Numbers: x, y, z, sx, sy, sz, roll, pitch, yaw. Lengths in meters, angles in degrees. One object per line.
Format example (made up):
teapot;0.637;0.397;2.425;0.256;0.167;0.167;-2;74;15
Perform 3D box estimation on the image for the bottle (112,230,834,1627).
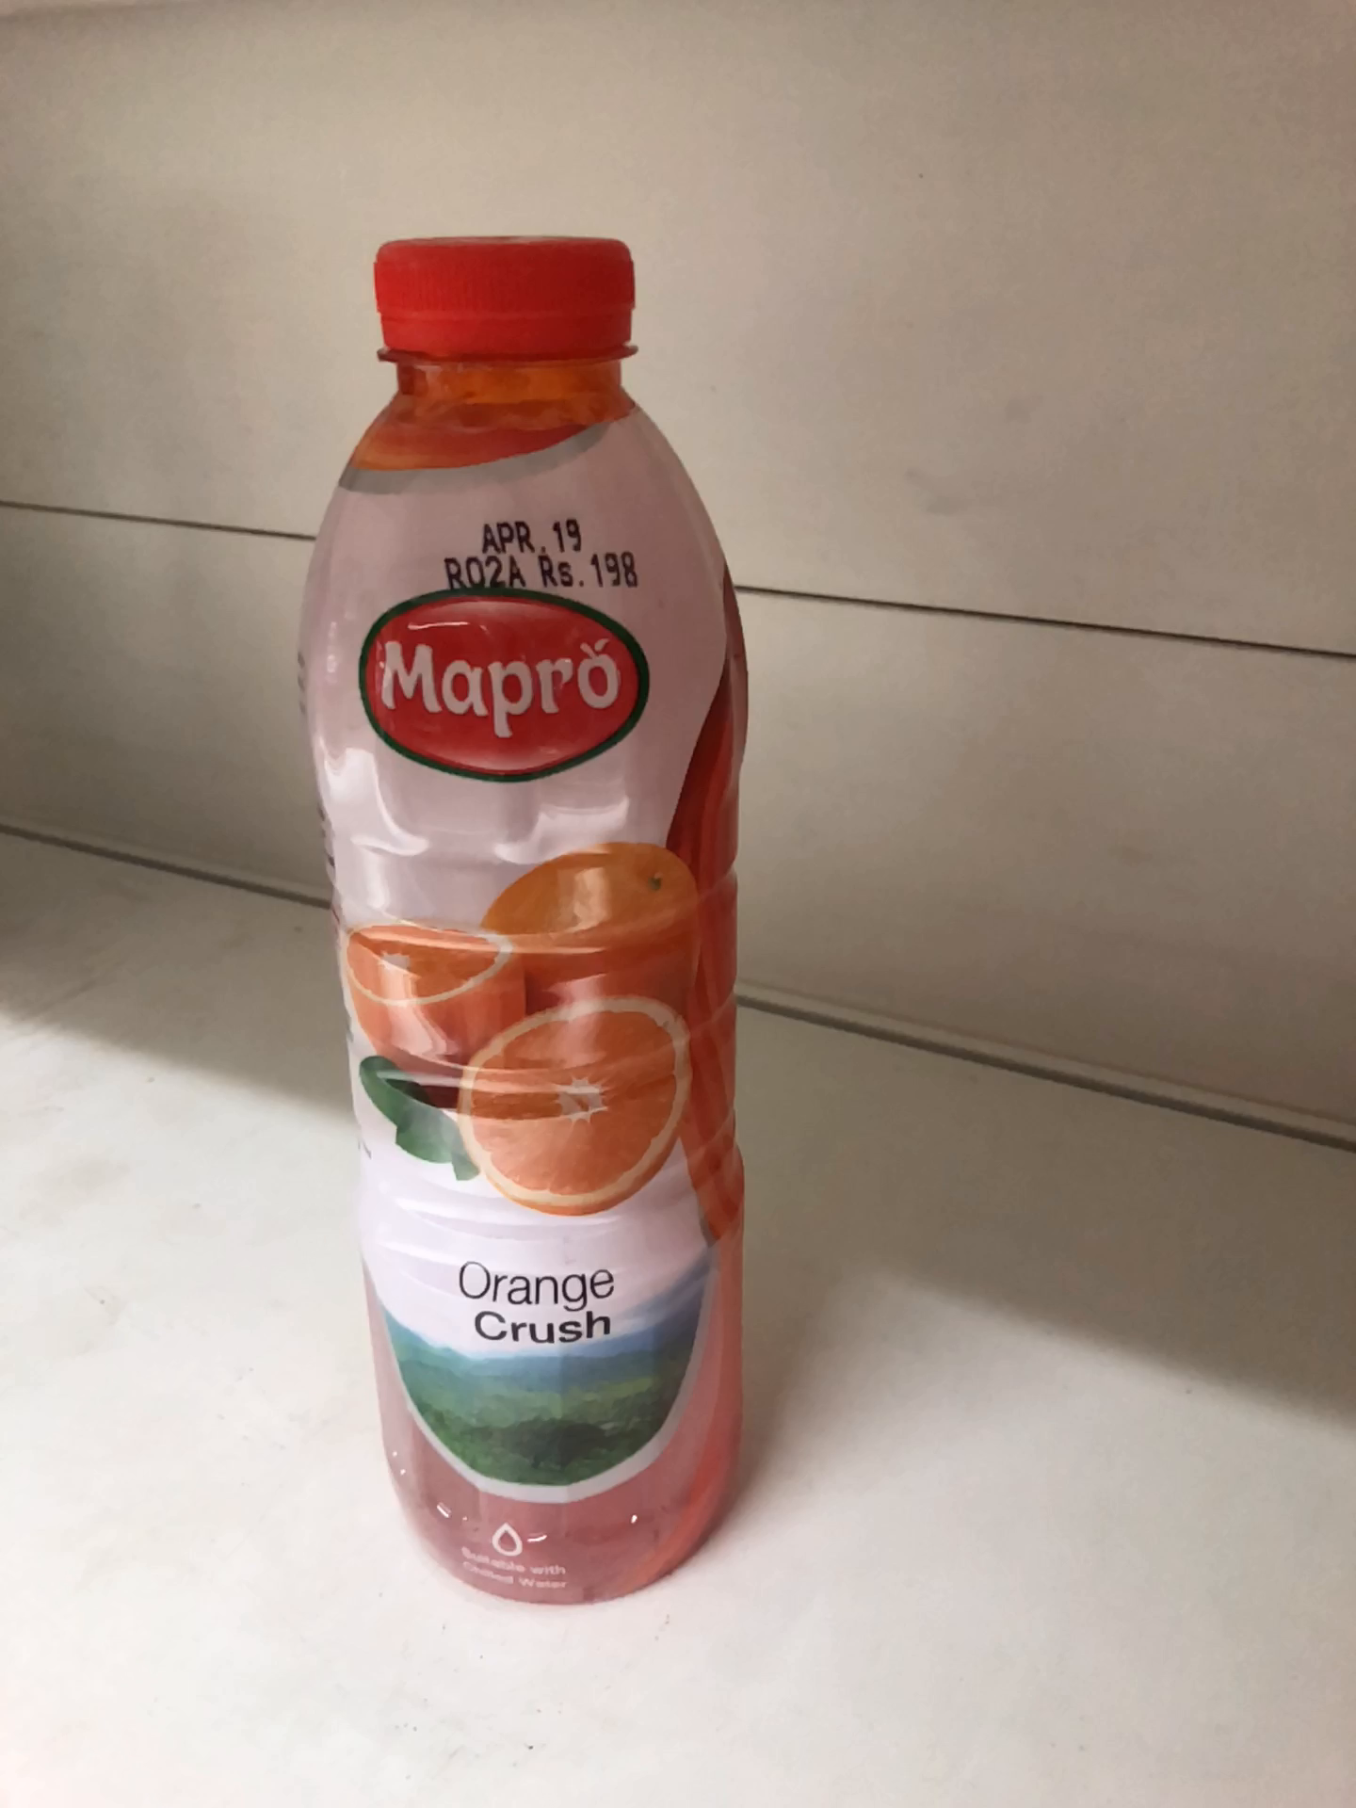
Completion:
bottle;-0.025;0.010;0.273;0.090;0.239;0.080;1;24;2
